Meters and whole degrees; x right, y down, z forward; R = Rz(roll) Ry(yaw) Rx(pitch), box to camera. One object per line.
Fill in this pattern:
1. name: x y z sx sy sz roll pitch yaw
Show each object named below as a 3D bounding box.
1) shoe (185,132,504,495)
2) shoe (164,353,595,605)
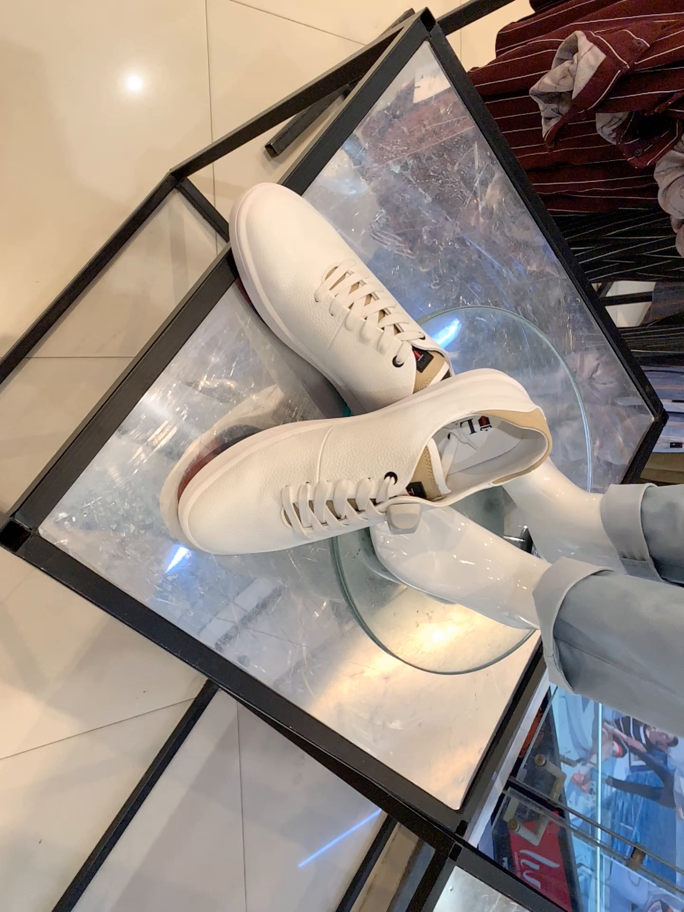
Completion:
1. shoe: 0.013 -0.106 0.606 0.100 0.100 0.291 -50 120 -22
2. shoe: 0.032 0.009 0.526 0.301 0.080 0.100 -13 120 -14
